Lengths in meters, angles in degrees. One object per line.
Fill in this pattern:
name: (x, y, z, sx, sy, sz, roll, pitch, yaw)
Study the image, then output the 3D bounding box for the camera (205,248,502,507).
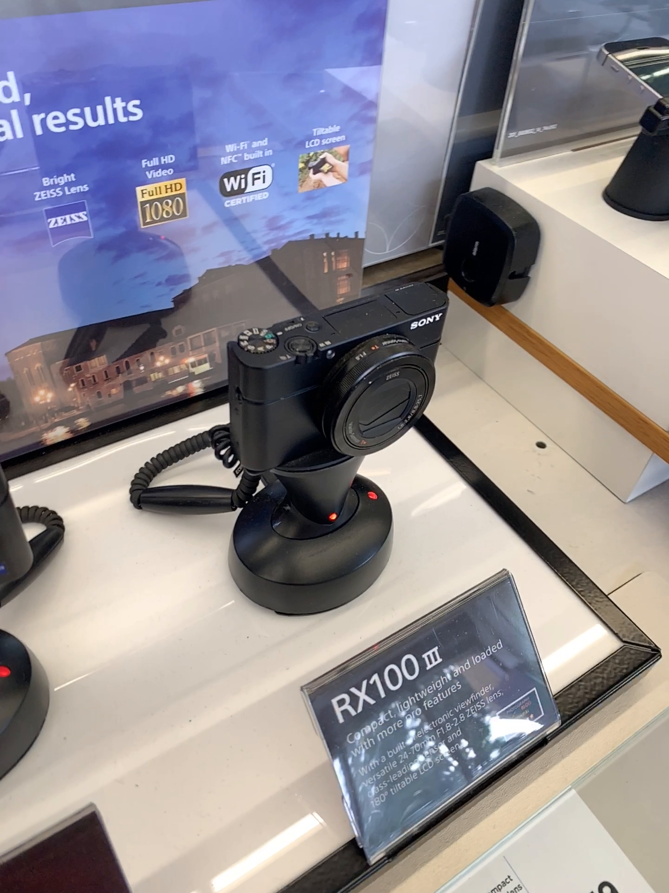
camera: (0.008, -0.033, 0.295, 0.110, 0.059, 0.050, -25, 53, -27)
